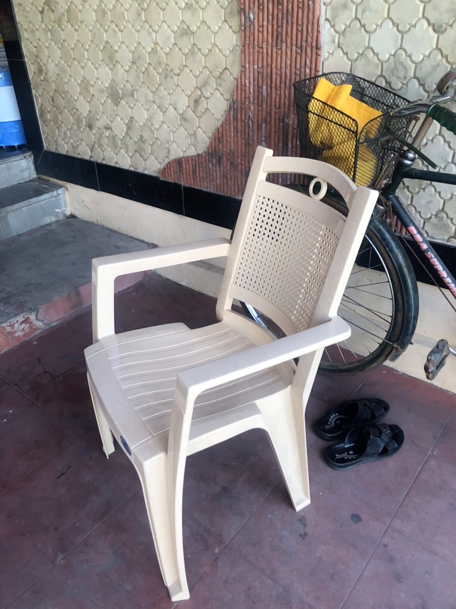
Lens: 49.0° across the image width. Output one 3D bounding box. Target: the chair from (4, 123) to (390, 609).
[{"bbox_3d":[-0.092,0.088,1.176,0.551,0.826,0.592,-17,33,-22],"label":"chair"}]
